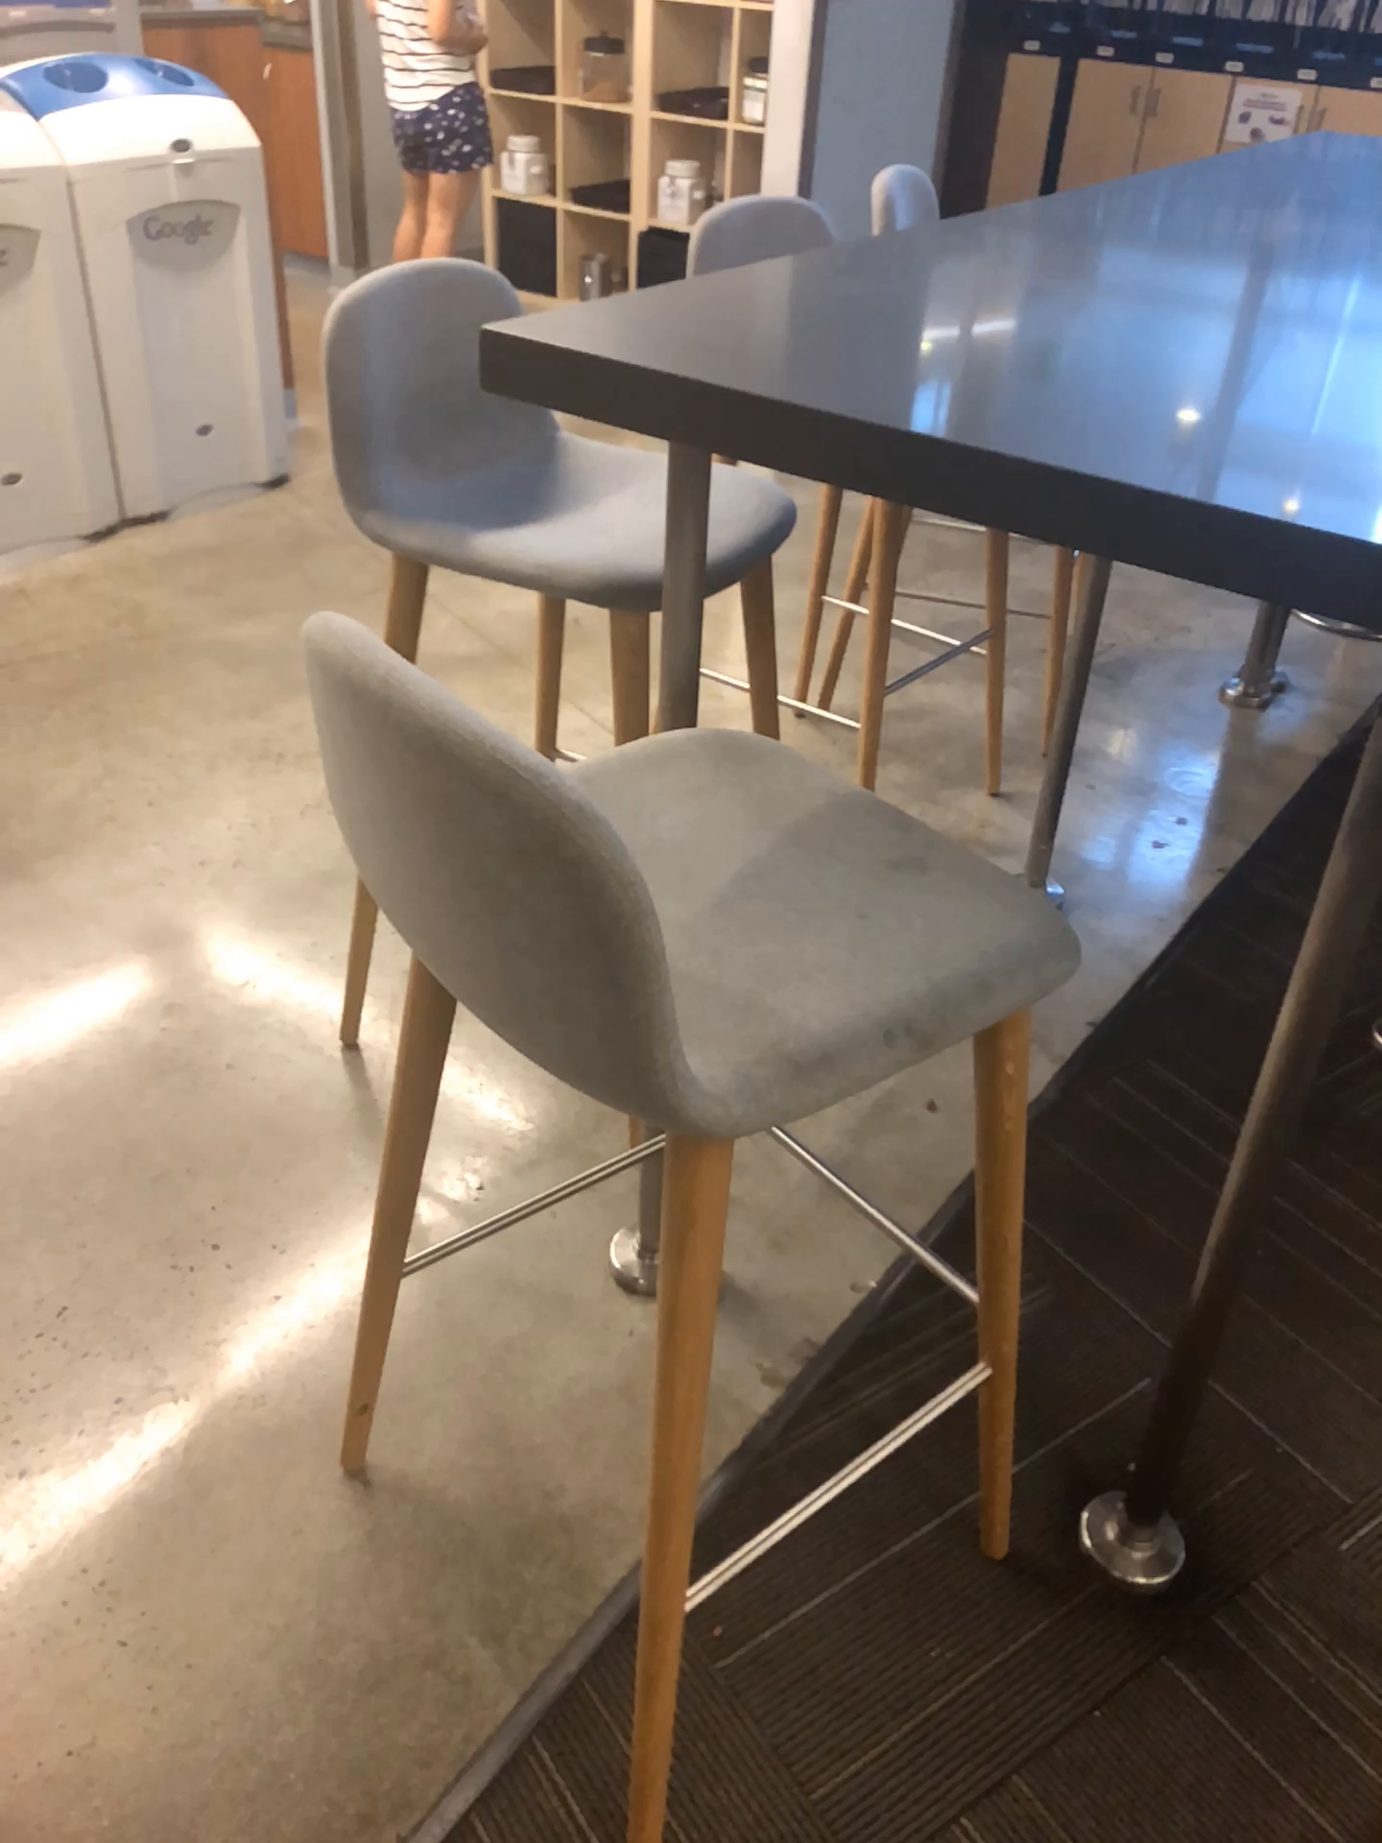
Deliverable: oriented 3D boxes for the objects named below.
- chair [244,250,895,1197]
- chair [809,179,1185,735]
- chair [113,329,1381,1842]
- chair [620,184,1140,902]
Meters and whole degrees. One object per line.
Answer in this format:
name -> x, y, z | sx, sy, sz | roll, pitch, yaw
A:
chair -> -0.133, -0.256, 1.931 | 0.540, 0.981, 0.504 | 16, 35, 19
chair -> 0.583, -0.908, 2.932 | 0.510, 0.893, 0.494 | 12, 30, 14
chair -> 0.031, 0.122, 1.226 | 0.664, 0.981, 0.502 | -21, 40, -32
chair -> 0.283, -0.644, 2.512 | 0.541, 0.982, 0.504 | 23, 33, 27
